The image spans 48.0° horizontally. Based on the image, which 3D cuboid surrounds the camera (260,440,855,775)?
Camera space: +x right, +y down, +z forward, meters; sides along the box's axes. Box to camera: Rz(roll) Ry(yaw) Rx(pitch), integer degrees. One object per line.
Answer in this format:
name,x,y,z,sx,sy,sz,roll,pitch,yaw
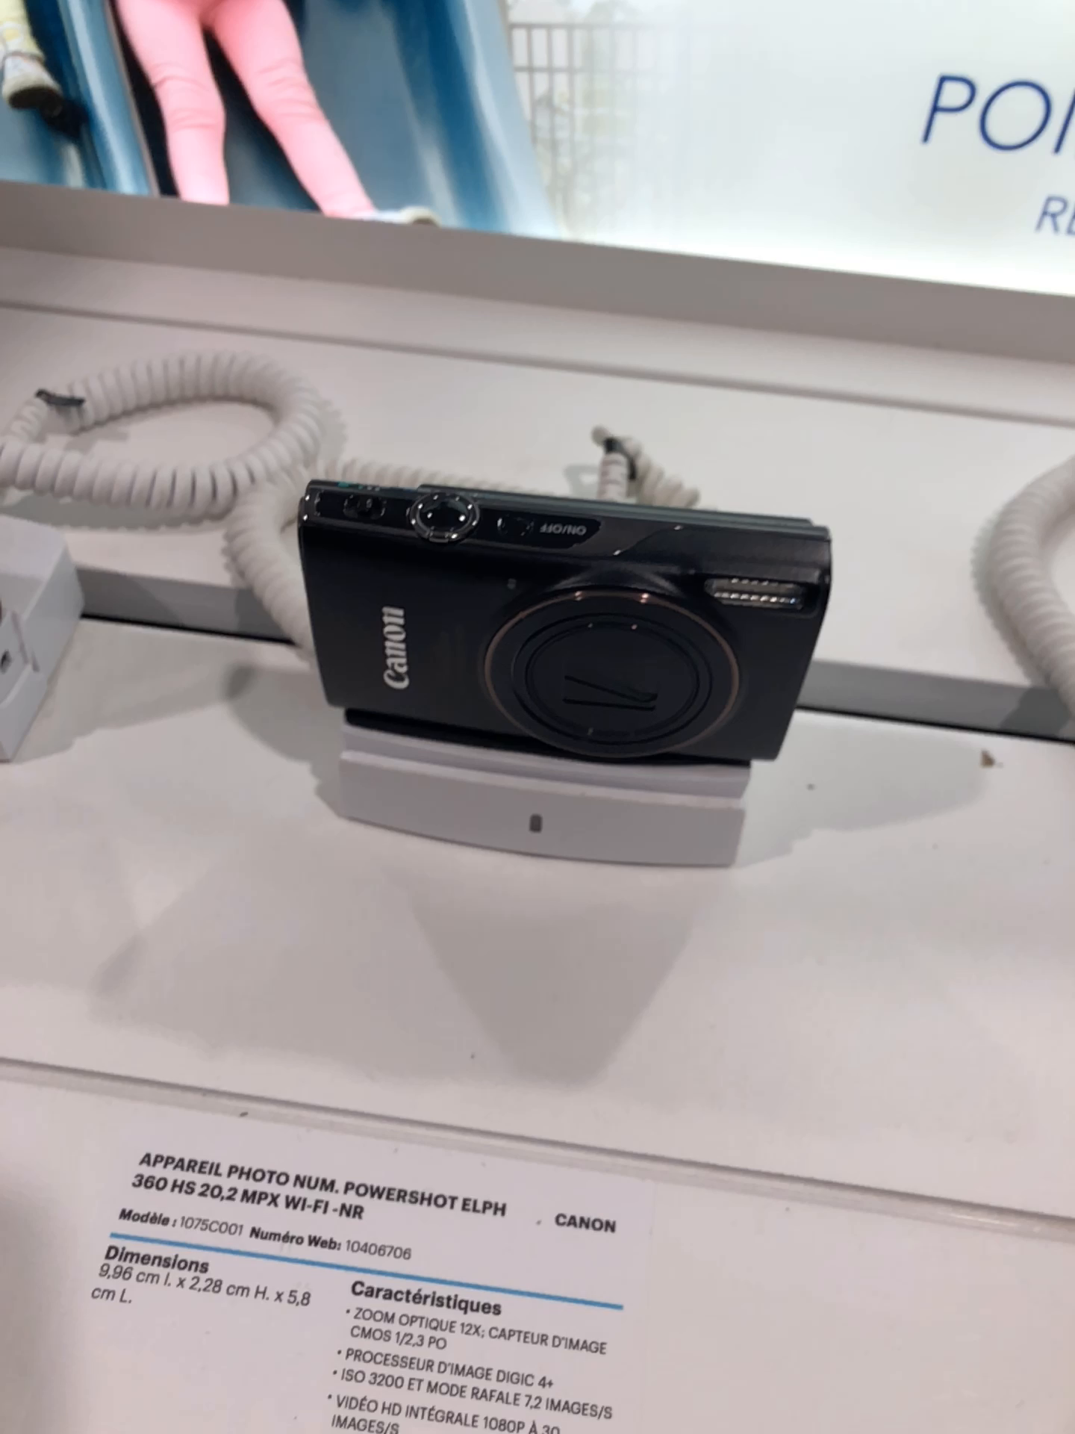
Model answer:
camera,0.003,-0.022,0.257,0.113,0.057,0.026,6,47,3
